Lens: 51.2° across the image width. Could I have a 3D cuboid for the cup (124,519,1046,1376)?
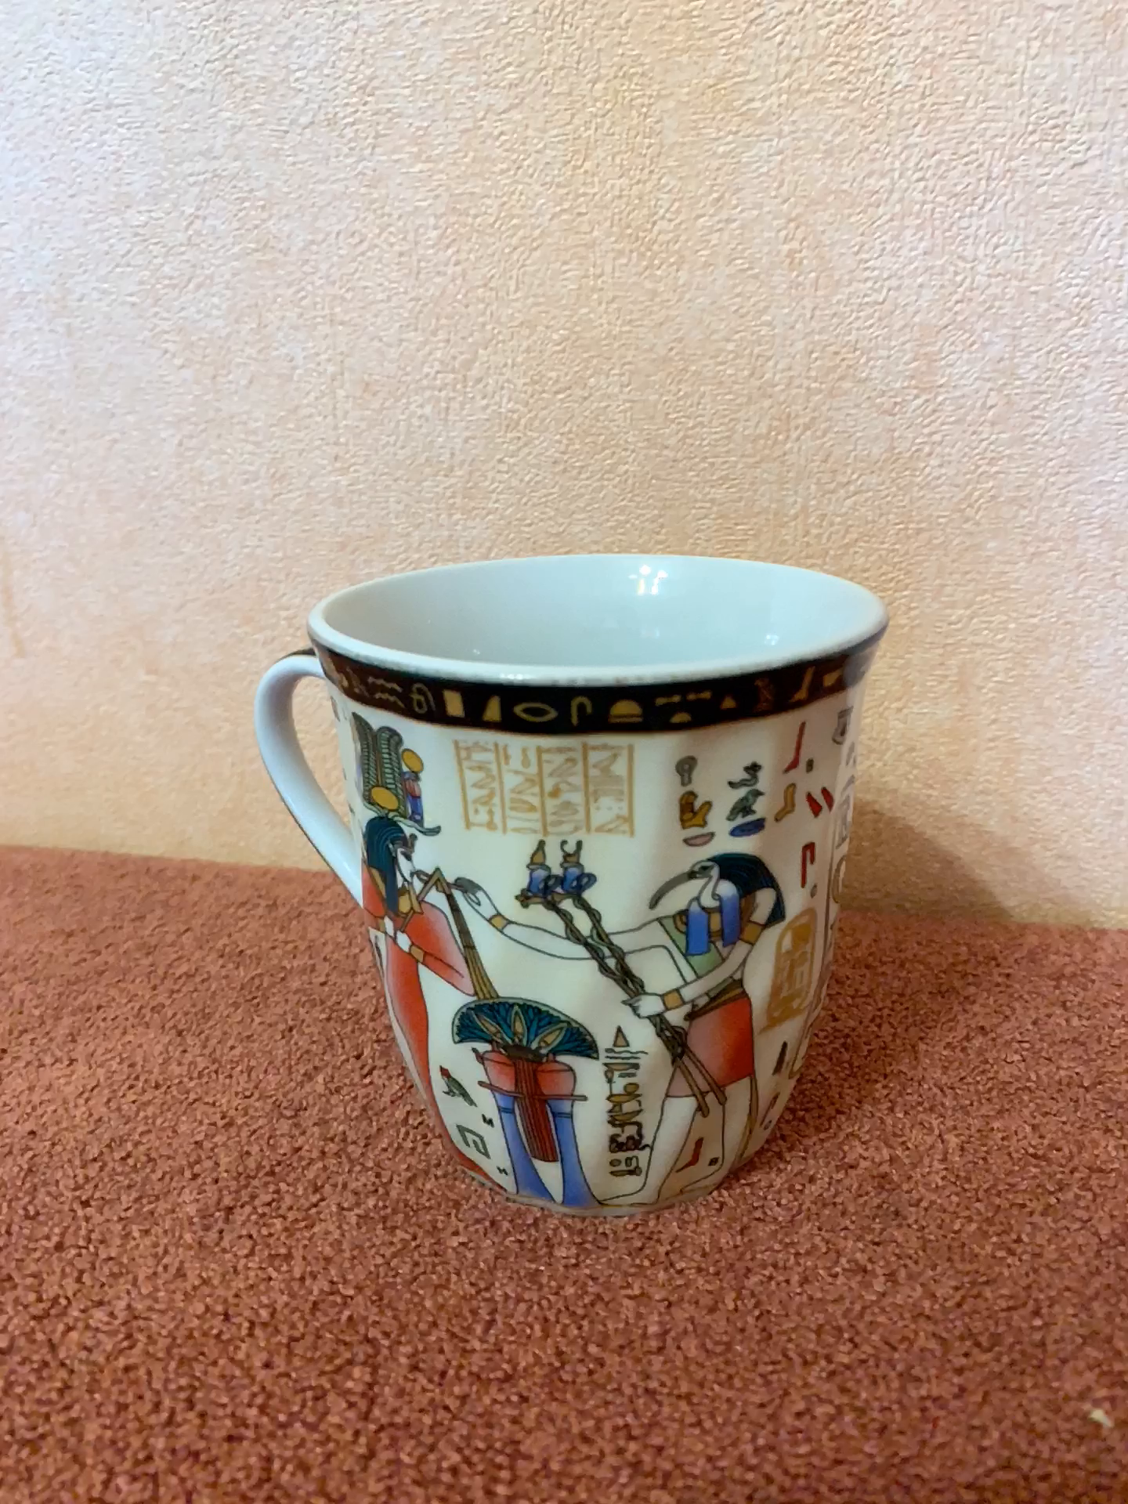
[{"bbox_3d":[0.006,0.015,0.197,0.116,0.087,0.086,11,24,32],"label":"cup"}]
